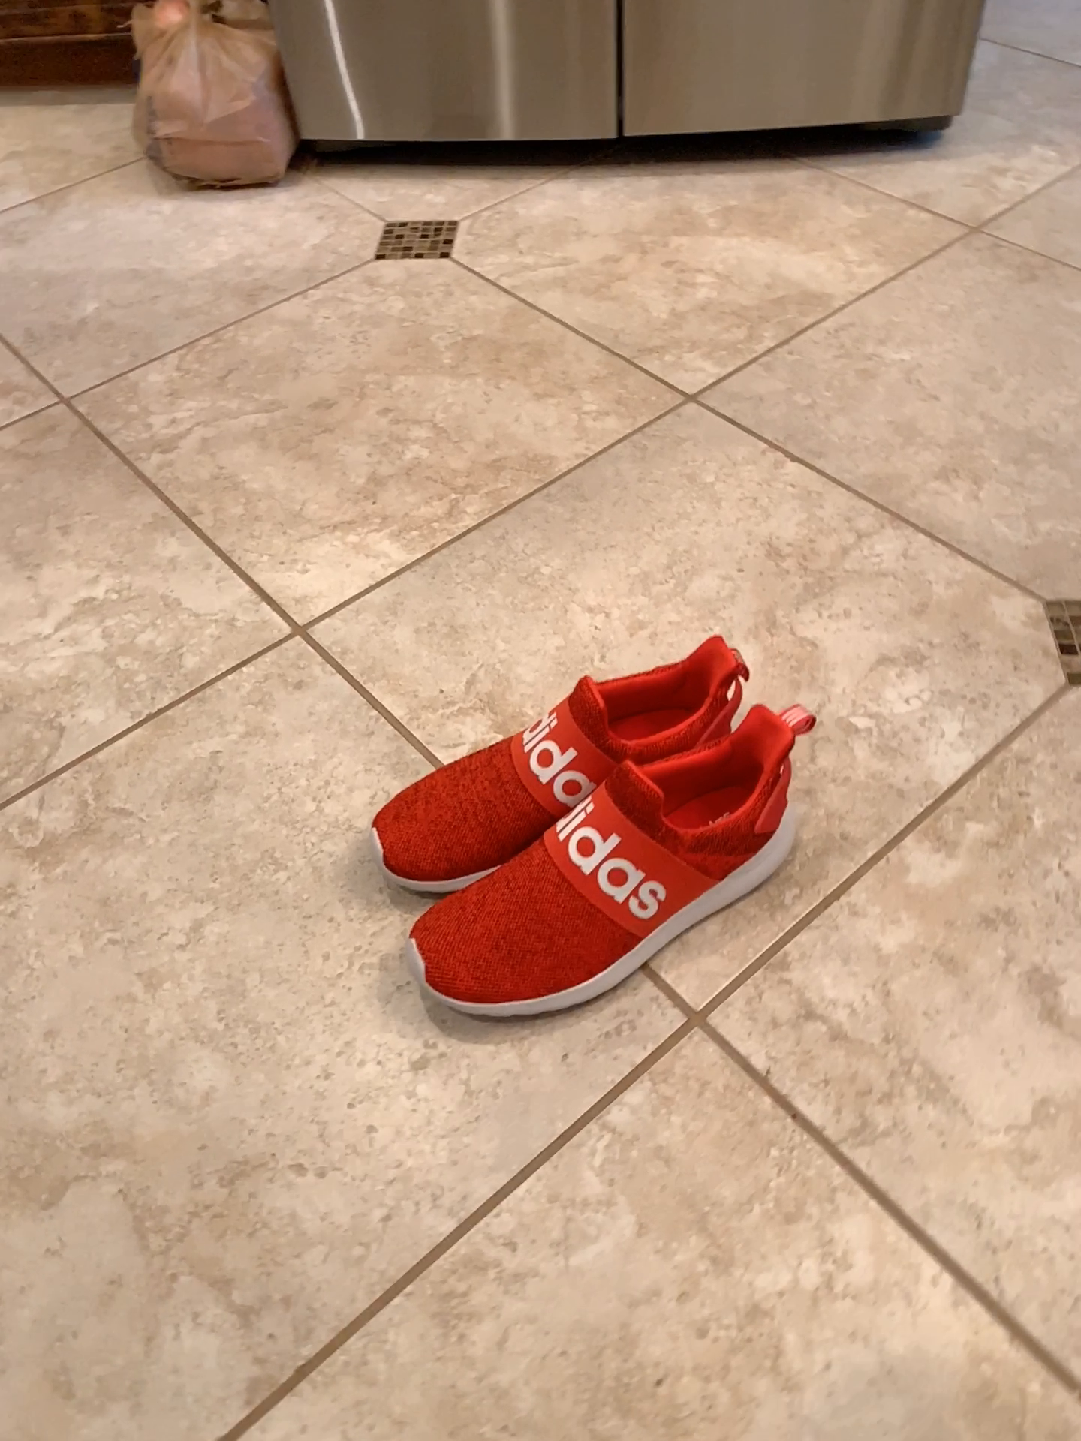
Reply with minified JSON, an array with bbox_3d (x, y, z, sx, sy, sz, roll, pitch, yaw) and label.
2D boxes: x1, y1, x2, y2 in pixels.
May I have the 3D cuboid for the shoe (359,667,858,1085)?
[{"bbox_3d":[0.048,0.100,0.748,0.300,0.119,0.118,-25,53,-16],"label":"shoe"}]

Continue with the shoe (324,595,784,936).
[{"bbox_3d":[0.011,0.030,0.816,0.300,0.119,0.118,-18,51,-10],"label":"shoe"}]
